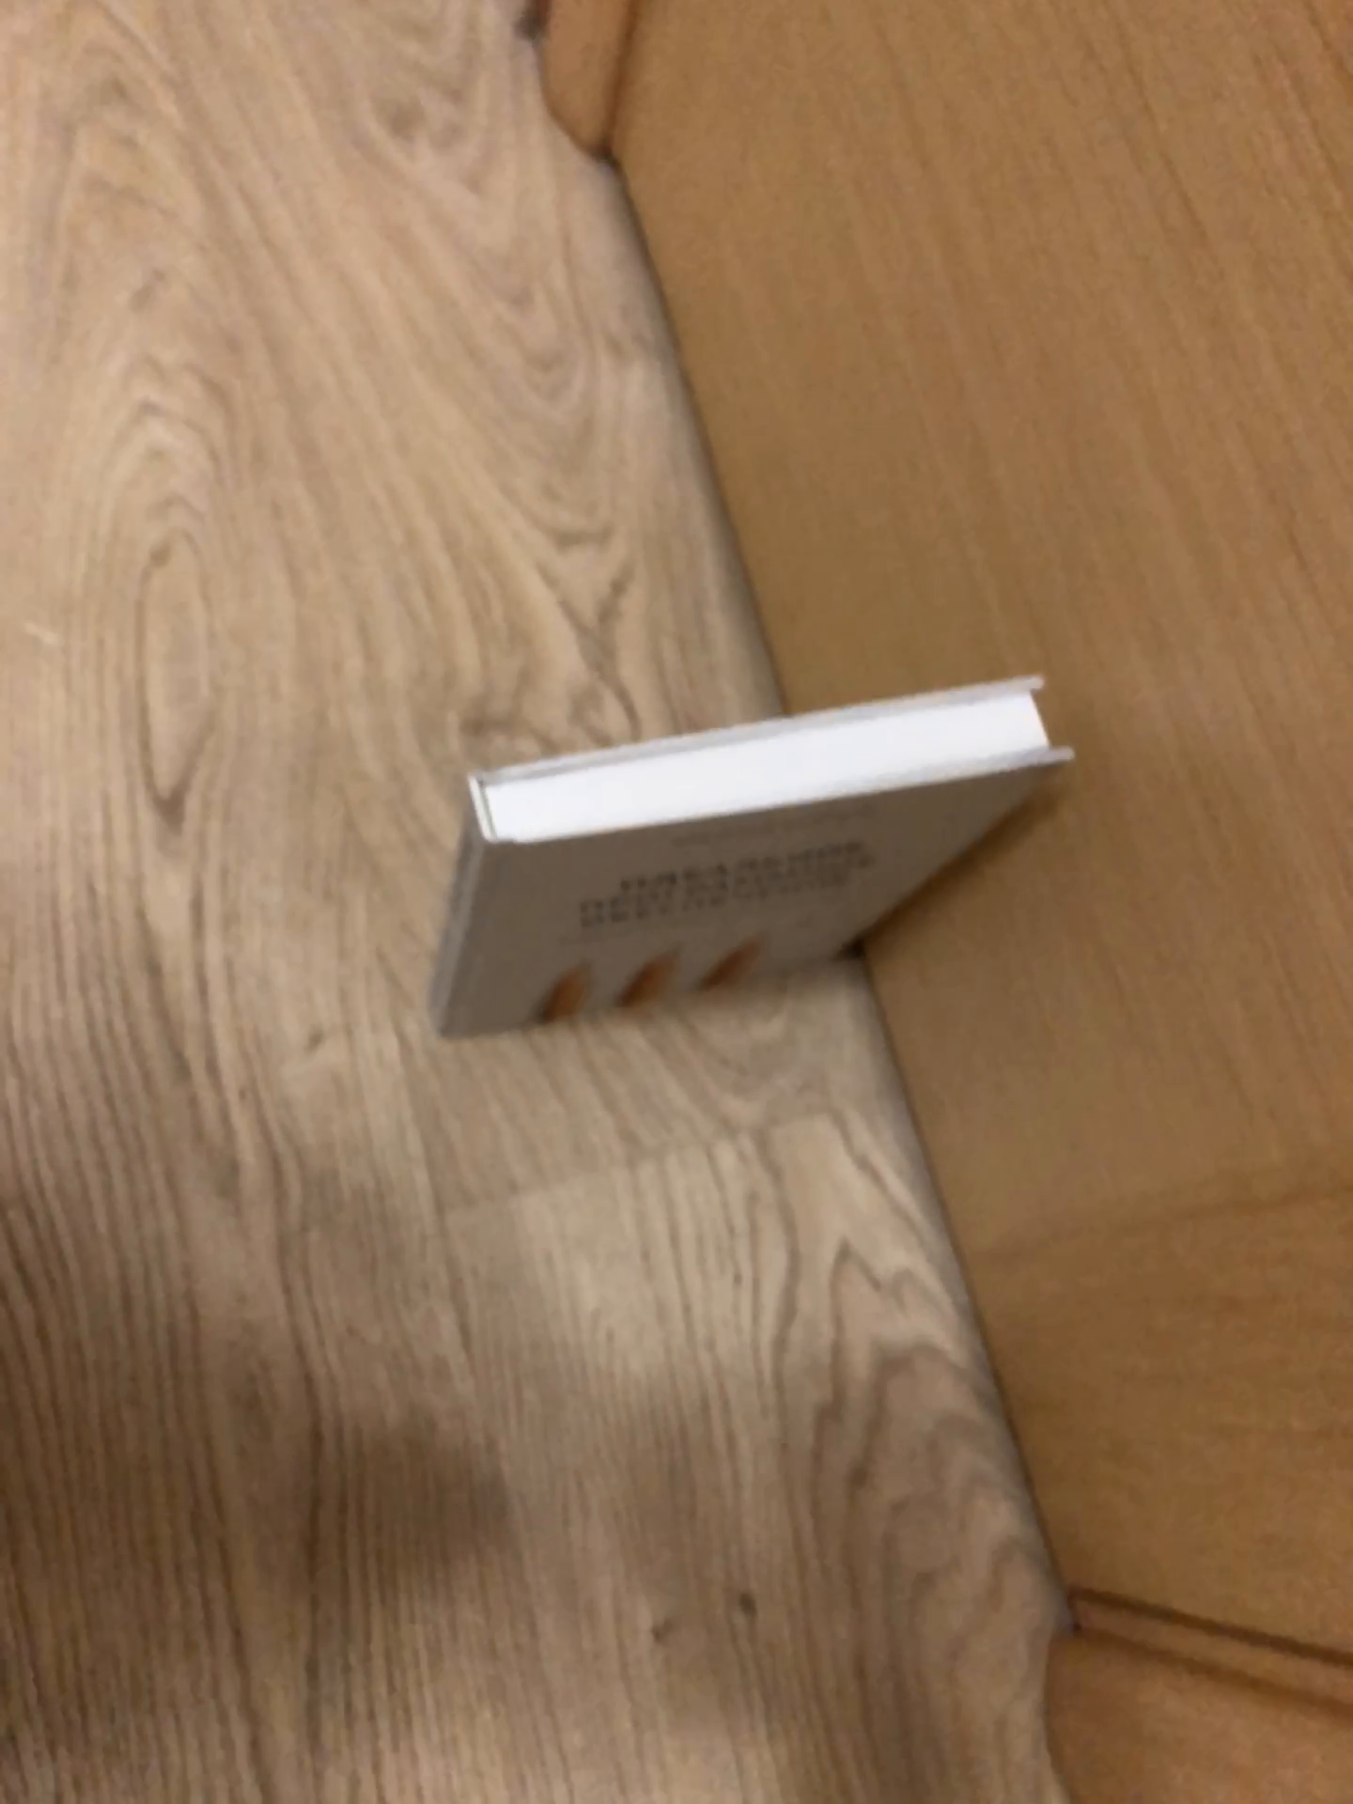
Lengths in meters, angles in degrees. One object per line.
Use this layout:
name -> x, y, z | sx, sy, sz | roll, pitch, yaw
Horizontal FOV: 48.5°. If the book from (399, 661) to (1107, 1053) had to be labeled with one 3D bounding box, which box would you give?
book -> 0.004, -0.004, 0.448 | 0.163, 0.209, 0.023 | -11, 76, -16
